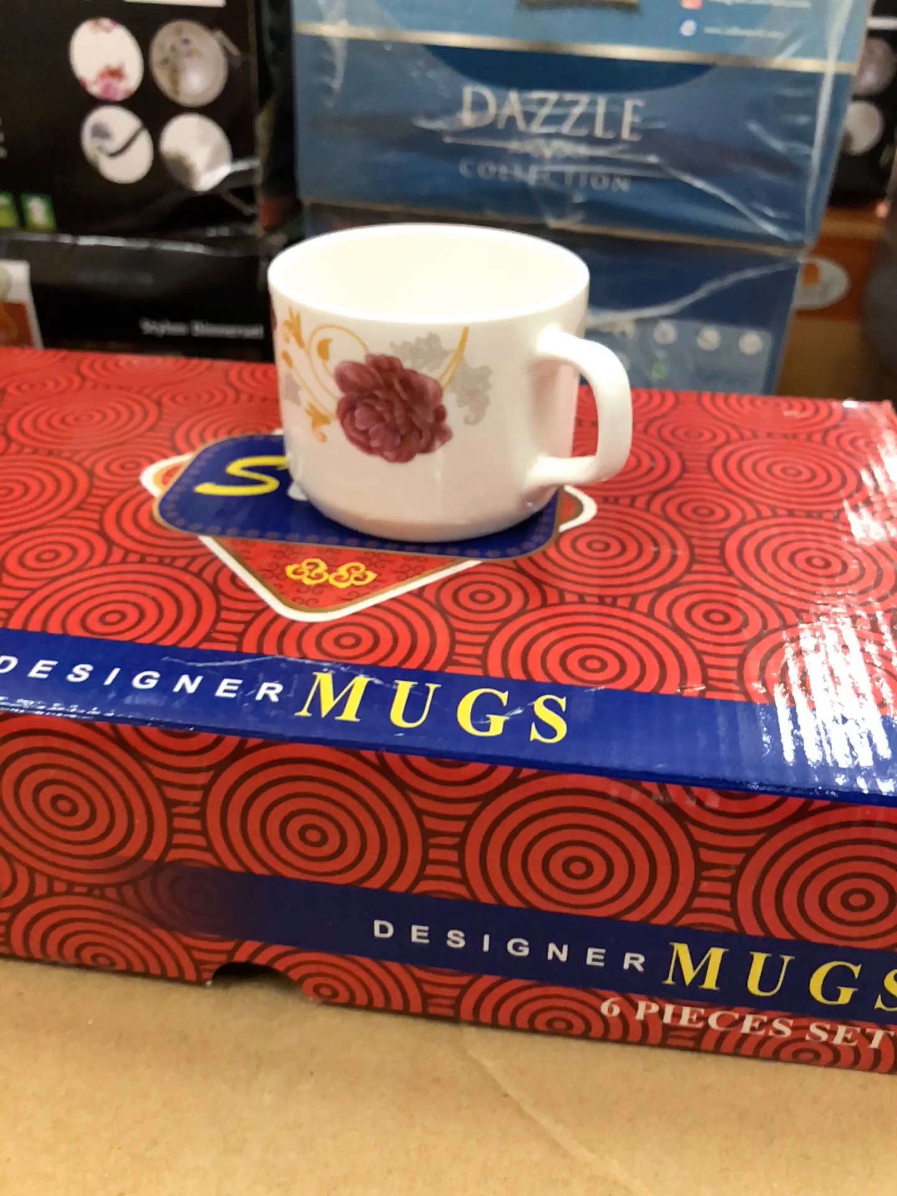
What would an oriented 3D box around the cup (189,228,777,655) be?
[{"bbox_3d":[0.006,-0.045,0.232,0.100,0.050,0.080,28,40,33],"label":"cup"}]
